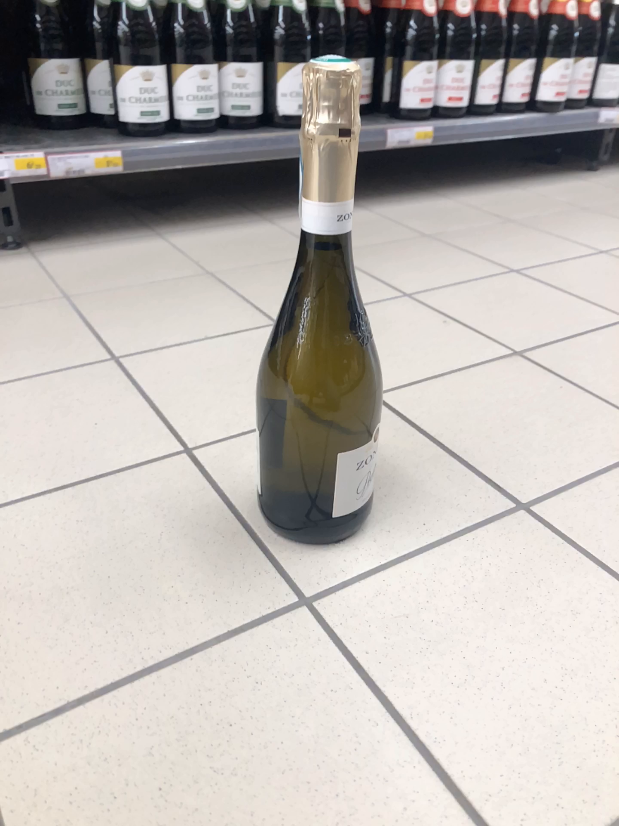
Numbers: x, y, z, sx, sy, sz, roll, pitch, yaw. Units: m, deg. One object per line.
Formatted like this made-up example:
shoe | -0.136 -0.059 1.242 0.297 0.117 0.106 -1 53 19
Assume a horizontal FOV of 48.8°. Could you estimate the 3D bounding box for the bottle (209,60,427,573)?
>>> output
bottle | 0.005 -0.055 0.450 0.090 0.308 0.101 12 31 17
